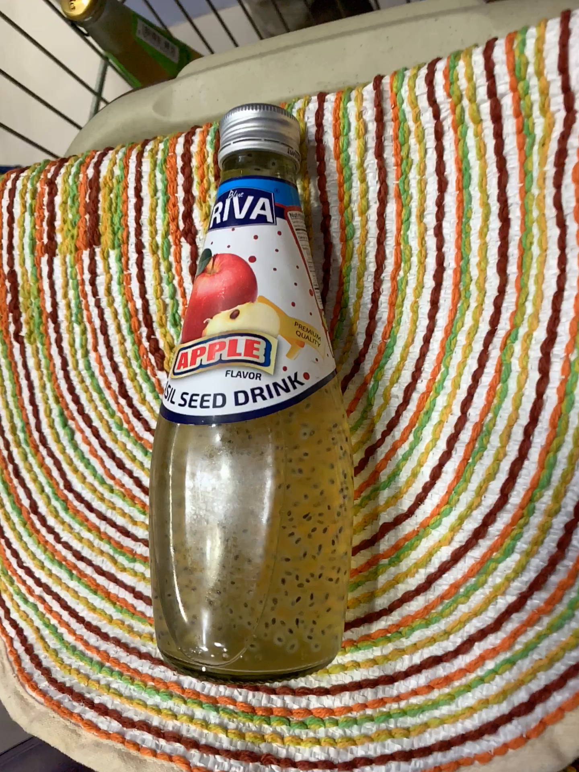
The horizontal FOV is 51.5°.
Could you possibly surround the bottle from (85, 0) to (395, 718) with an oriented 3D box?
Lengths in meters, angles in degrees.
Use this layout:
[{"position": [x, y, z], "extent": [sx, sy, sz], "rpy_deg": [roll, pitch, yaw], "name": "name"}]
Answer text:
[{"position": [-0.010, -0.016, 0.194], "extent": [0.070, 0.050, 0.200], "rpy_deg": [-1, 80, 25], "name": "bottle"}]
